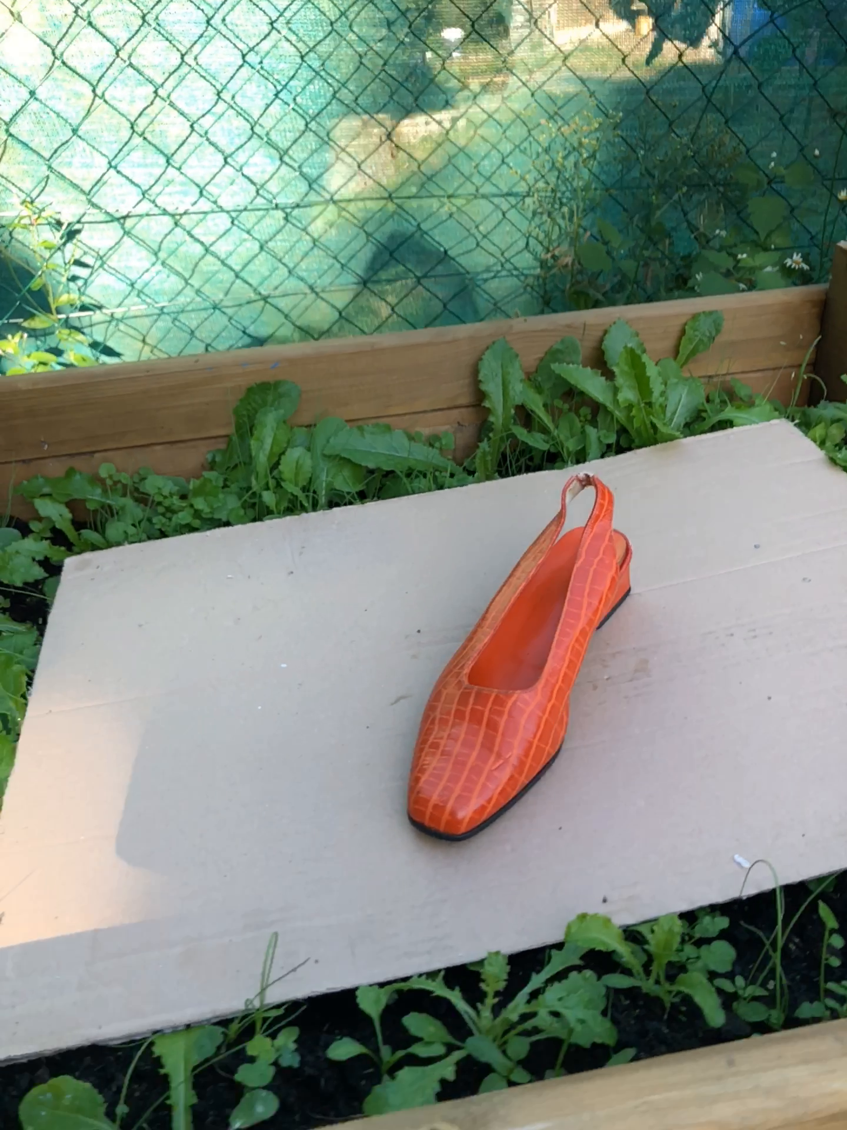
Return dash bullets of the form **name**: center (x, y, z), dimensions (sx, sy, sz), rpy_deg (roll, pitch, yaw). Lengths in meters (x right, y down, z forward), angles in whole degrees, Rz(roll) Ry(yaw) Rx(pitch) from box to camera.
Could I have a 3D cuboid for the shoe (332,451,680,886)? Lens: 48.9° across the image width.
- **shoe**: center (0.061, 0.041, 0.543), dimensions (0.090, 0.089, 0.262), rpy_deg (16, 40, 25)
